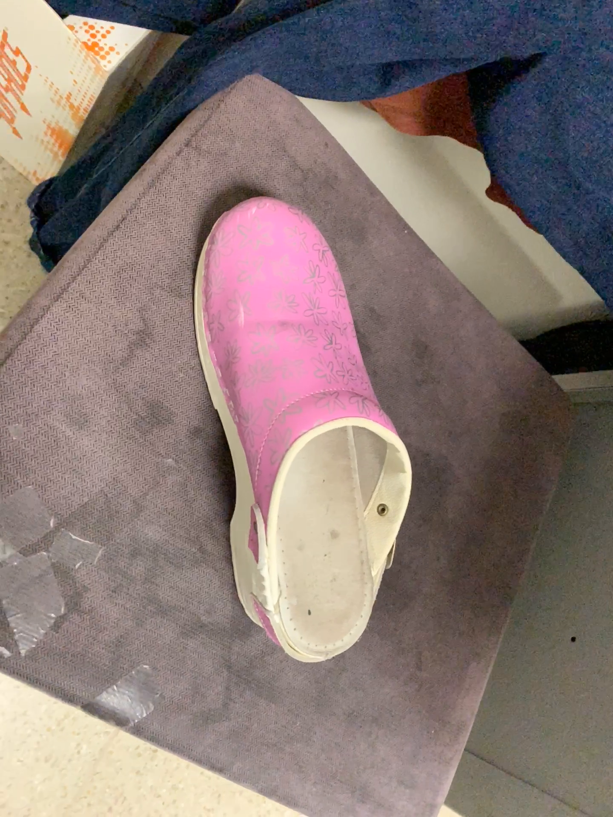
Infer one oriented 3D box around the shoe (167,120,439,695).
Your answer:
[{"bbox_3d":[-0.004,-0.001,0.312,0.101,0.080,0.230,0,86,-33],"label":"shoe"}]
